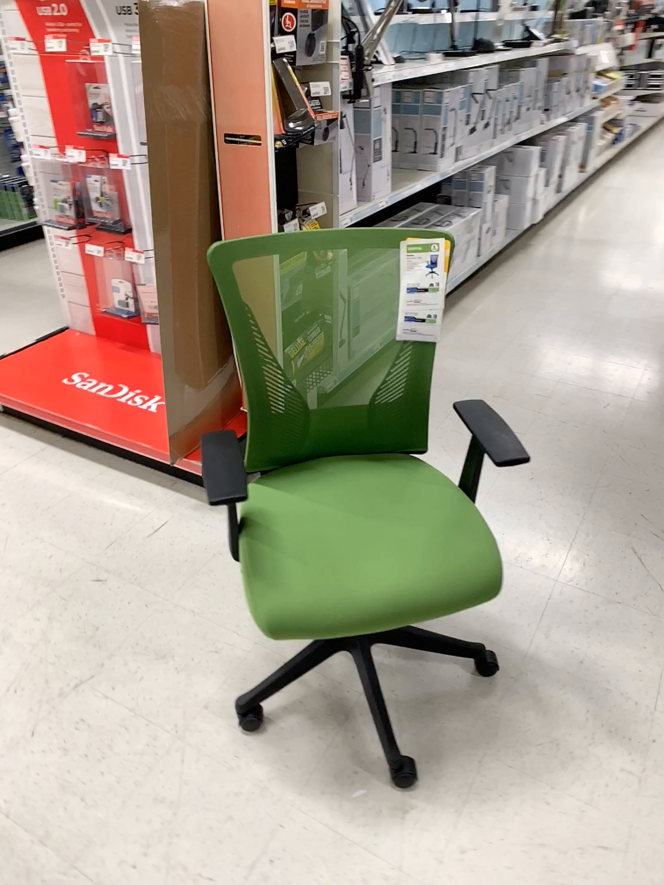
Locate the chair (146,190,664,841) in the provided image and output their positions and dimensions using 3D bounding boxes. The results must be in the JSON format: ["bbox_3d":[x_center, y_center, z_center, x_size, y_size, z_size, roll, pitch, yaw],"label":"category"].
[{"bbox_3d":[0.054,0.108,1.347,0.670,0.994,0.674,-8,33,-12],"label":"chair"}]
